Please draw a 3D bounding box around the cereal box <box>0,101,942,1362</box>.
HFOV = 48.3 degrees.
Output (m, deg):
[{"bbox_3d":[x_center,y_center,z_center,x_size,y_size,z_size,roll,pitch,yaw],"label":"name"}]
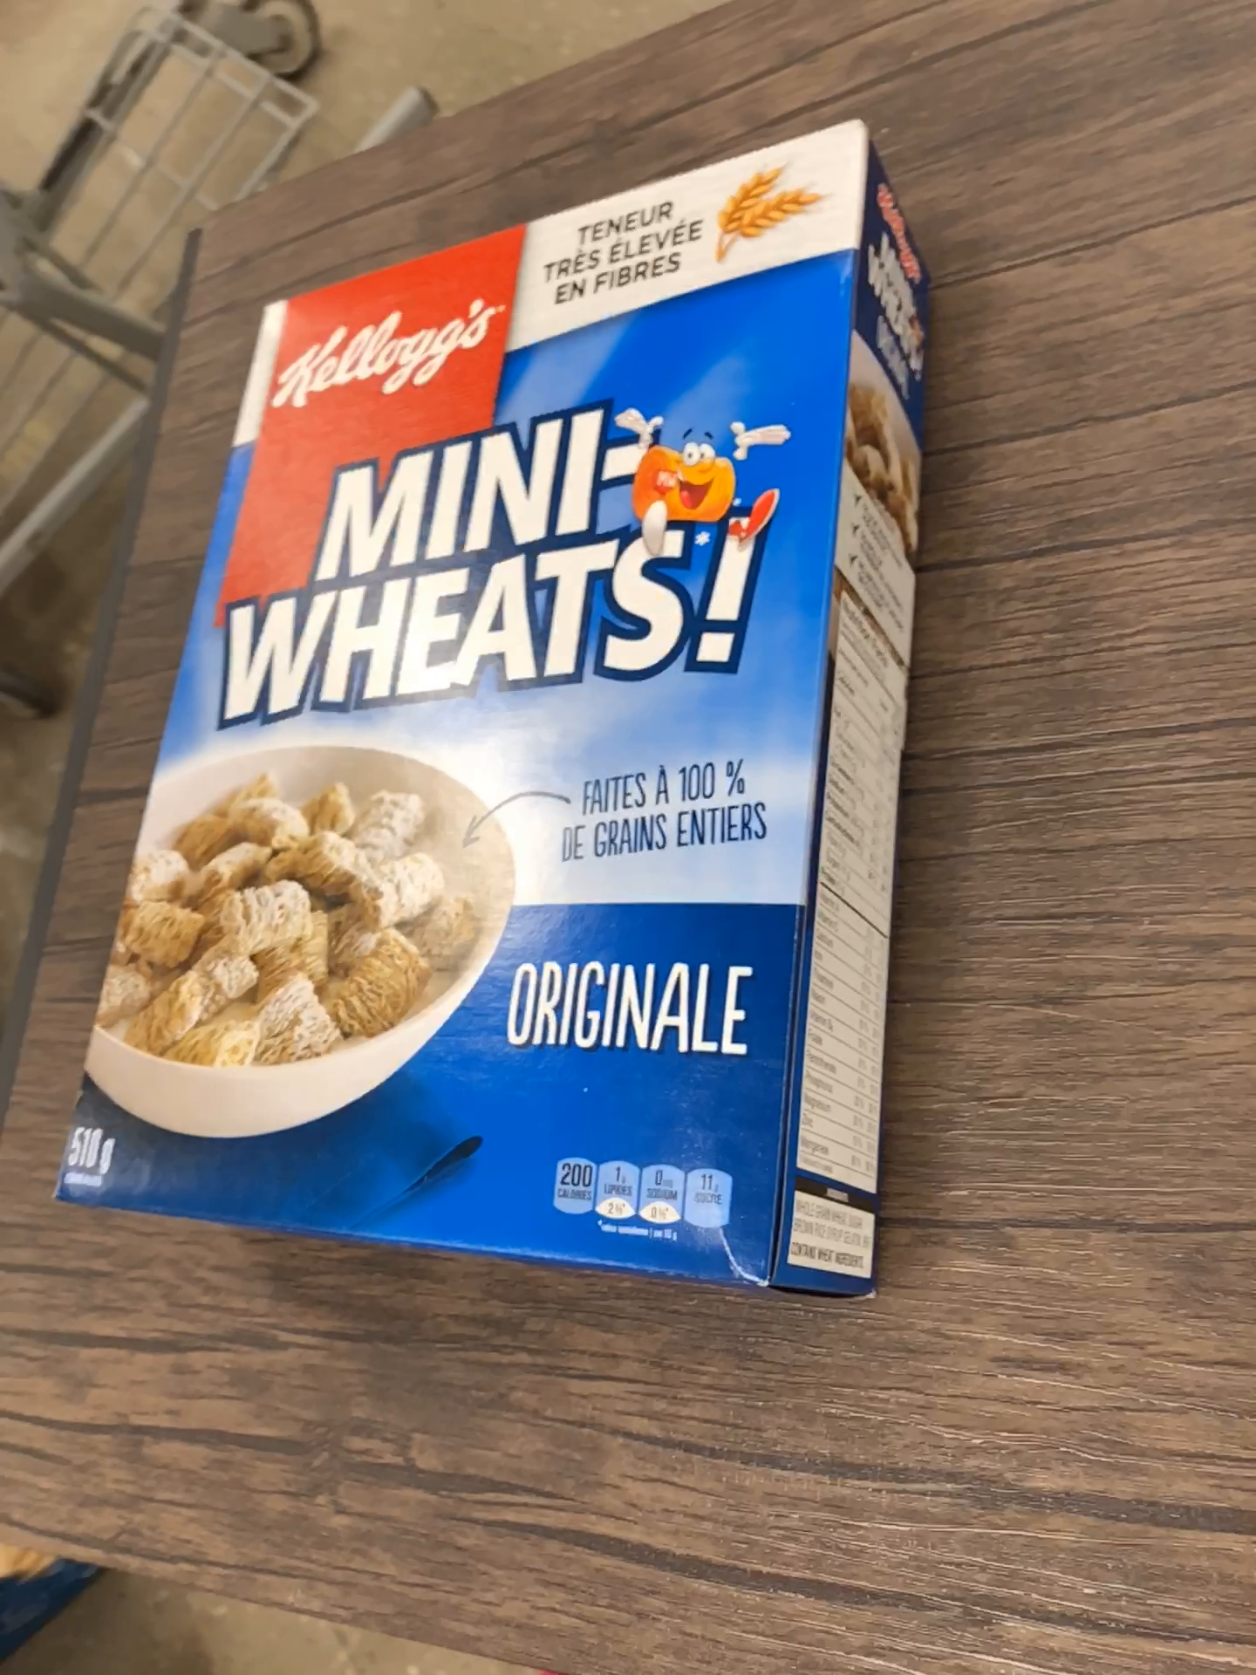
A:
[{"bbox_3d":[-0.040,-0.026,0.353,0.211,0.060,0.270,-4,68,29],"label":"cereal box"}]
